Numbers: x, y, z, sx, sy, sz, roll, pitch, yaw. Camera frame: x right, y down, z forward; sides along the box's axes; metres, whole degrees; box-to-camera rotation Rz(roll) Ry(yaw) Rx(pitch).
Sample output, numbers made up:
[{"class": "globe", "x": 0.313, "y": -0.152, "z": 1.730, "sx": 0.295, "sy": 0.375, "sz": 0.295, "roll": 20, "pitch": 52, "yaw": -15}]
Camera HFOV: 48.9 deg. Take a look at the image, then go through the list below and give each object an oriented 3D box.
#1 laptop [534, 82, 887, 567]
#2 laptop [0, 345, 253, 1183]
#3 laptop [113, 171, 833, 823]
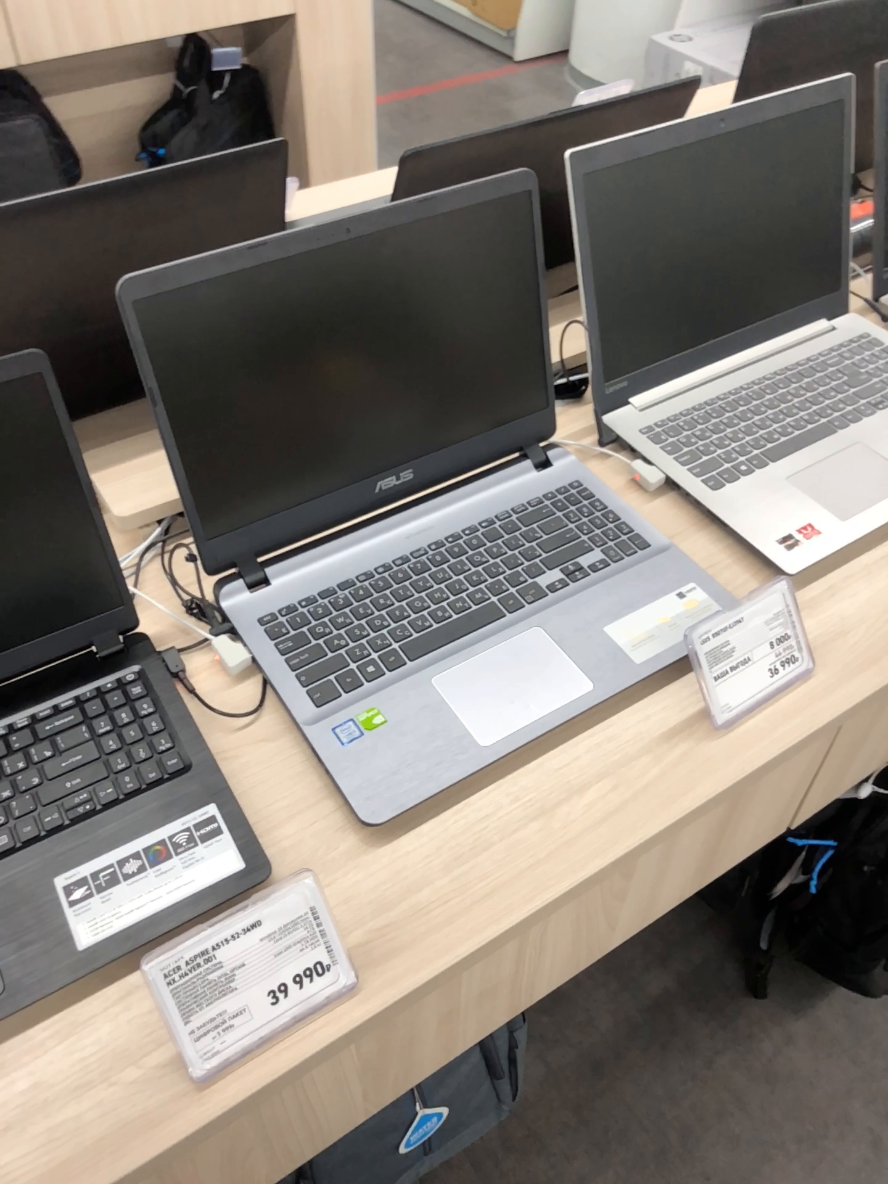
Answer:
[{"class": "laptop", "x": 0.354, "y": -0.265, "z": 0.899, "sx": 0.371, "sy": 0.220, "sz": 0.333, "roll": -26, "pitch": 54, "yaw": -25}, {"class": "laptop", "x": -0.330, "y": 0.074, "z": 0.553, "sx": 0.333, "sy": 0.222, "sz": 0.292, "roll": -23, "pitch": 52, "yaw": -23}, {"class": "laptop", "x": 0.008, "y": -0.096, "z": 0.719, "sx": 0.345, "sy": 0.226, "sz": 0.329, "roll": -25, "pitch": 53, "yaw": -24}]
